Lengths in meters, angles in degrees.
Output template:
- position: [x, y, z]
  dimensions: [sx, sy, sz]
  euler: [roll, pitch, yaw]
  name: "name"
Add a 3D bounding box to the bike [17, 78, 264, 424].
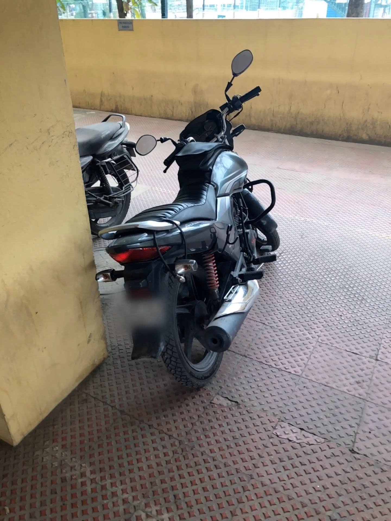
- position: [-0.099, -0.227, 2.271]
  dimensions: [0.721, 1.166, 1.476]
  euler: [7, 31, 12]
  name: "bike"
